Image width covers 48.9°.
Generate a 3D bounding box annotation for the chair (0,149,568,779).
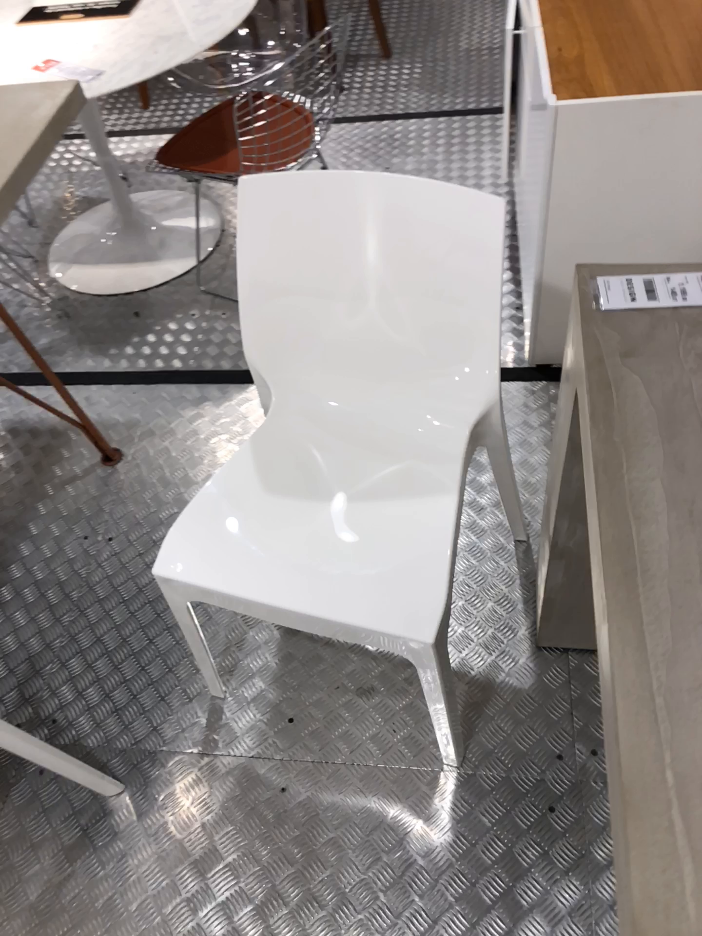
[{"bbox_3d":[-0.006,0.019,1.211,0.520,0.766,0.543,11,53,17],"label":"chair"}]
